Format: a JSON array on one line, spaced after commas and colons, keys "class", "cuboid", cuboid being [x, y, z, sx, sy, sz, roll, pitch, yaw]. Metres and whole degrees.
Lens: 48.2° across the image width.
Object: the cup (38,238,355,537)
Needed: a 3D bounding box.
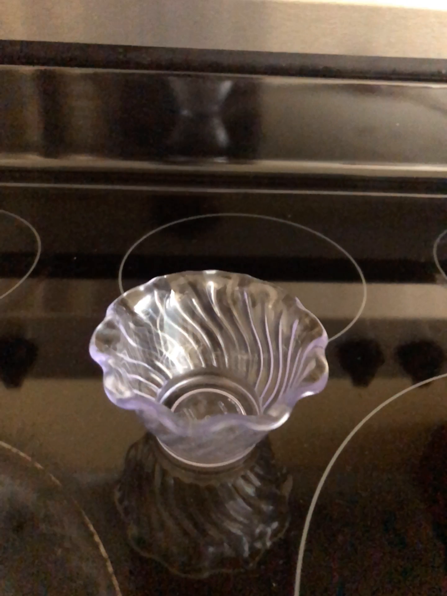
[{"class": "cup", "cuboid": [-0.006, 0.028, 0.210, 0.091, 0.049, 0.091, 2, 37, -1]}]
